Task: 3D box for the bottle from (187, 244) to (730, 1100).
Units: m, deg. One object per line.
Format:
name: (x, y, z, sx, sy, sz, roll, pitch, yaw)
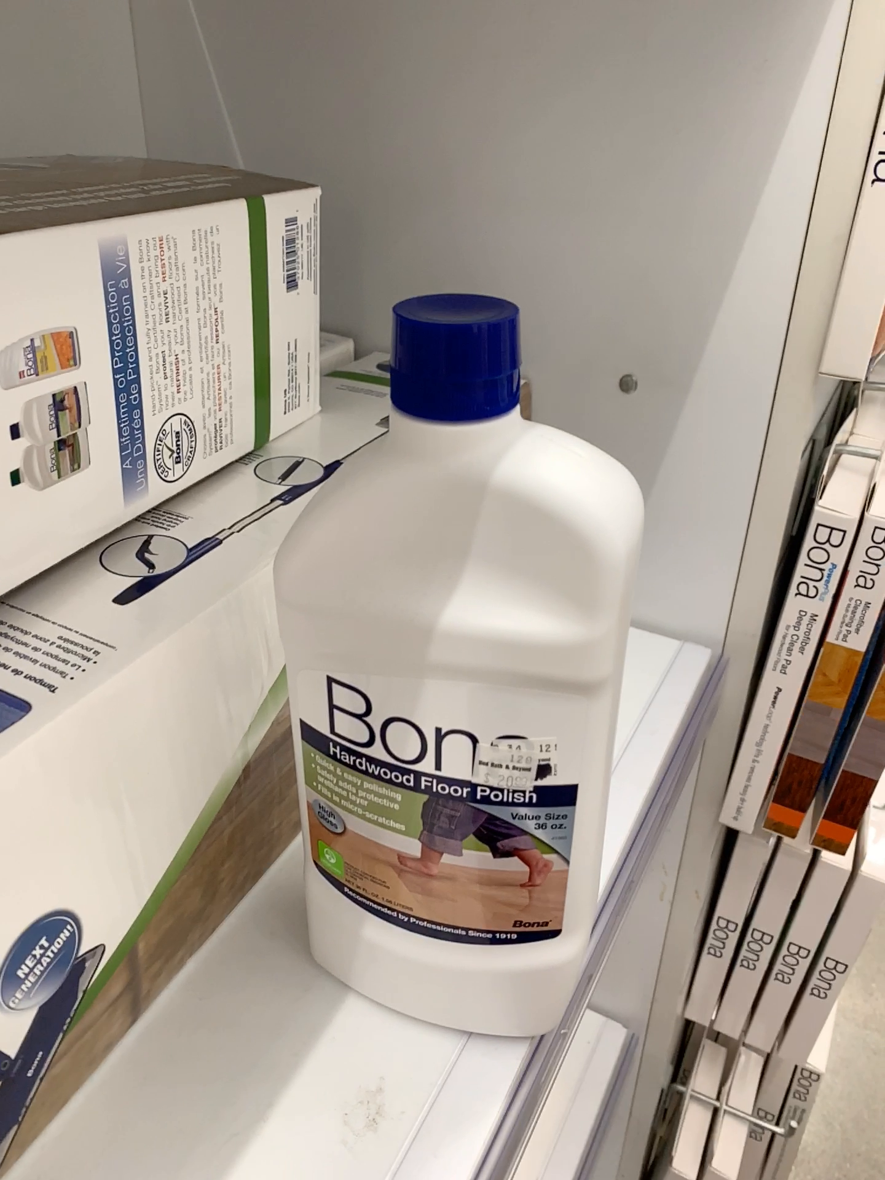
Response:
bottle: (0.005, 0.036, 0.292, 0.120, 0.259, 0.070, 10, 31, 14)
